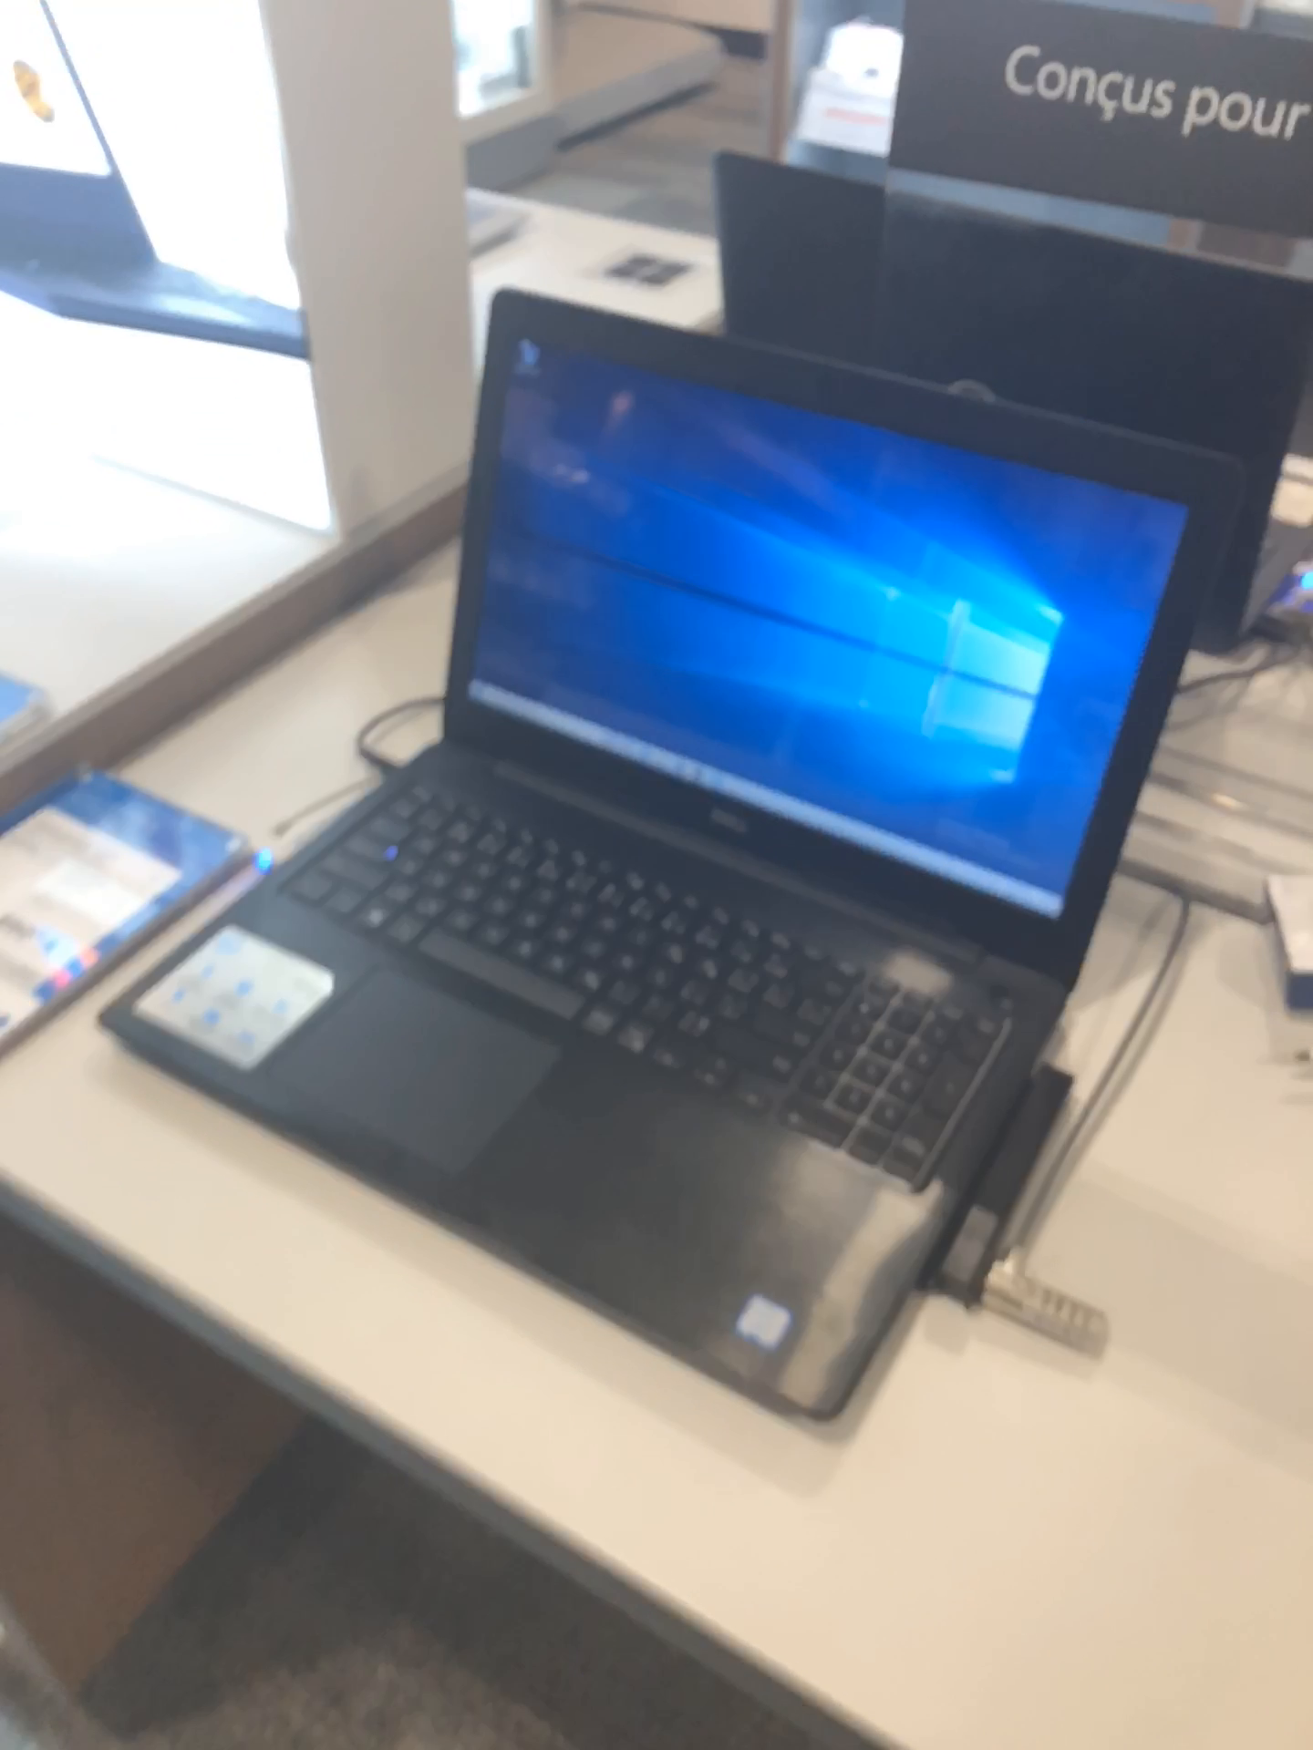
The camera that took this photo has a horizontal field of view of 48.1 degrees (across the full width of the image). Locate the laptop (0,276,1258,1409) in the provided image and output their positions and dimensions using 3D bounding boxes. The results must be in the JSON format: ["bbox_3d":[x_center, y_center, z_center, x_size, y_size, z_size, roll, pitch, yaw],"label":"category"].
[{"bbox_3d":[-0.004,-0.055,0.633,0.364,0.224,0.336,22,47,24],"label":"laptop"}]
